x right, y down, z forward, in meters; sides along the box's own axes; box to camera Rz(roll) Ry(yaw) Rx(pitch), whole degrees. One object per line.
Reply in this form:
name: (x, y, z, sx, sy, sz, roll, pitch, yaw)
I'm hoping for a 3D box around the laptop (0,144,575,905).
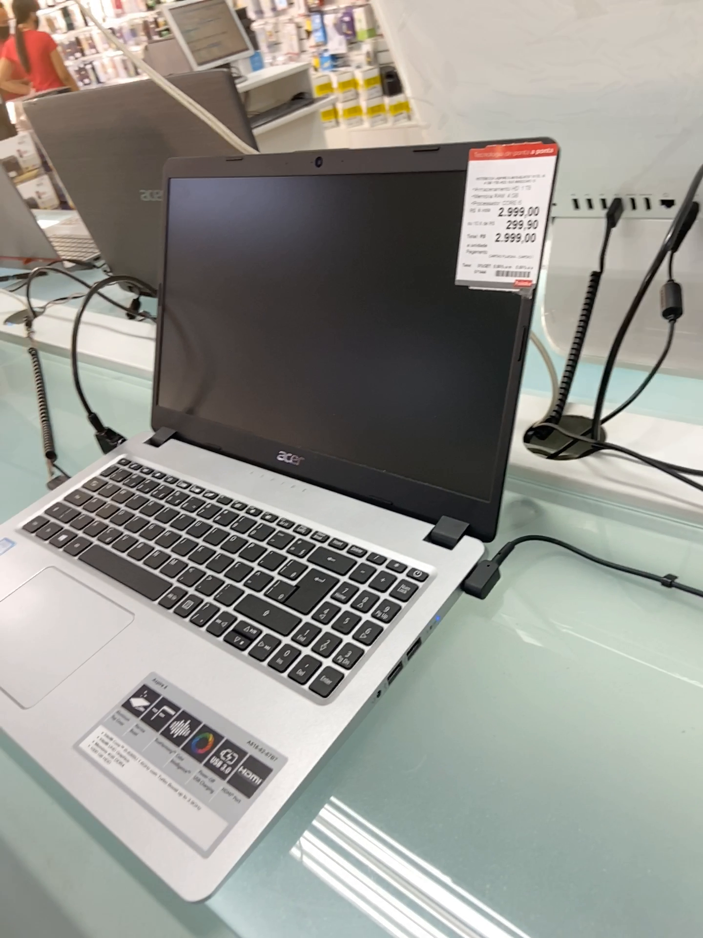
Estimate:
laptop: (-0.115, -0.037, 0.465, 0.366, 0.204, 0.365, 16, 44, 38)
